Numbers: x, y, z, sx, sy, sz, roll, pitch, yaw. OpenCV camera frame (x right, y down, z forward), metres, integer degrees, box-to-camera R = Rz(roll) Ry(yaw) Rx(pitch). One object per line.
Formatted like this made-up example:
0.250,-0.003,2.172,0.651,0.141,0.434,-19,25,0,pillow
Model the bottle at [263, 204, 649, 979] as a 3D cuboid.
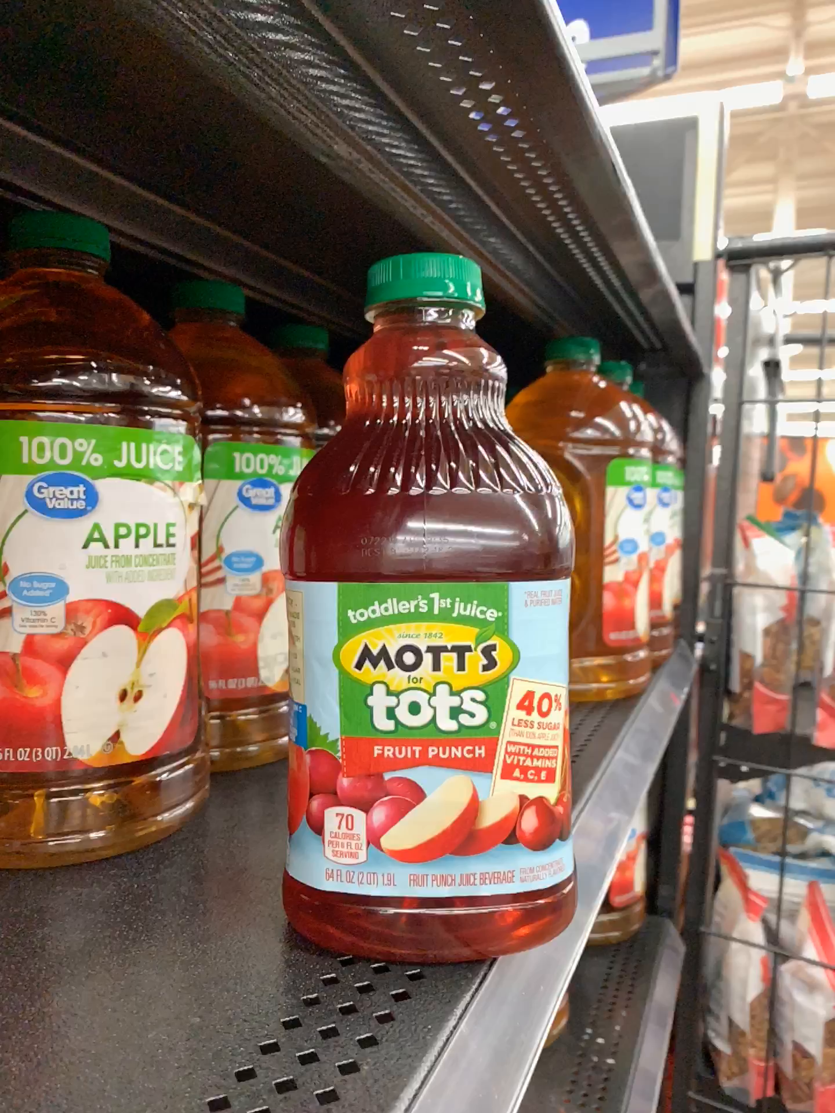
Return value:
0.005,0.011,0.340,0.120,0.250,0.110,2,4,0,bottle
